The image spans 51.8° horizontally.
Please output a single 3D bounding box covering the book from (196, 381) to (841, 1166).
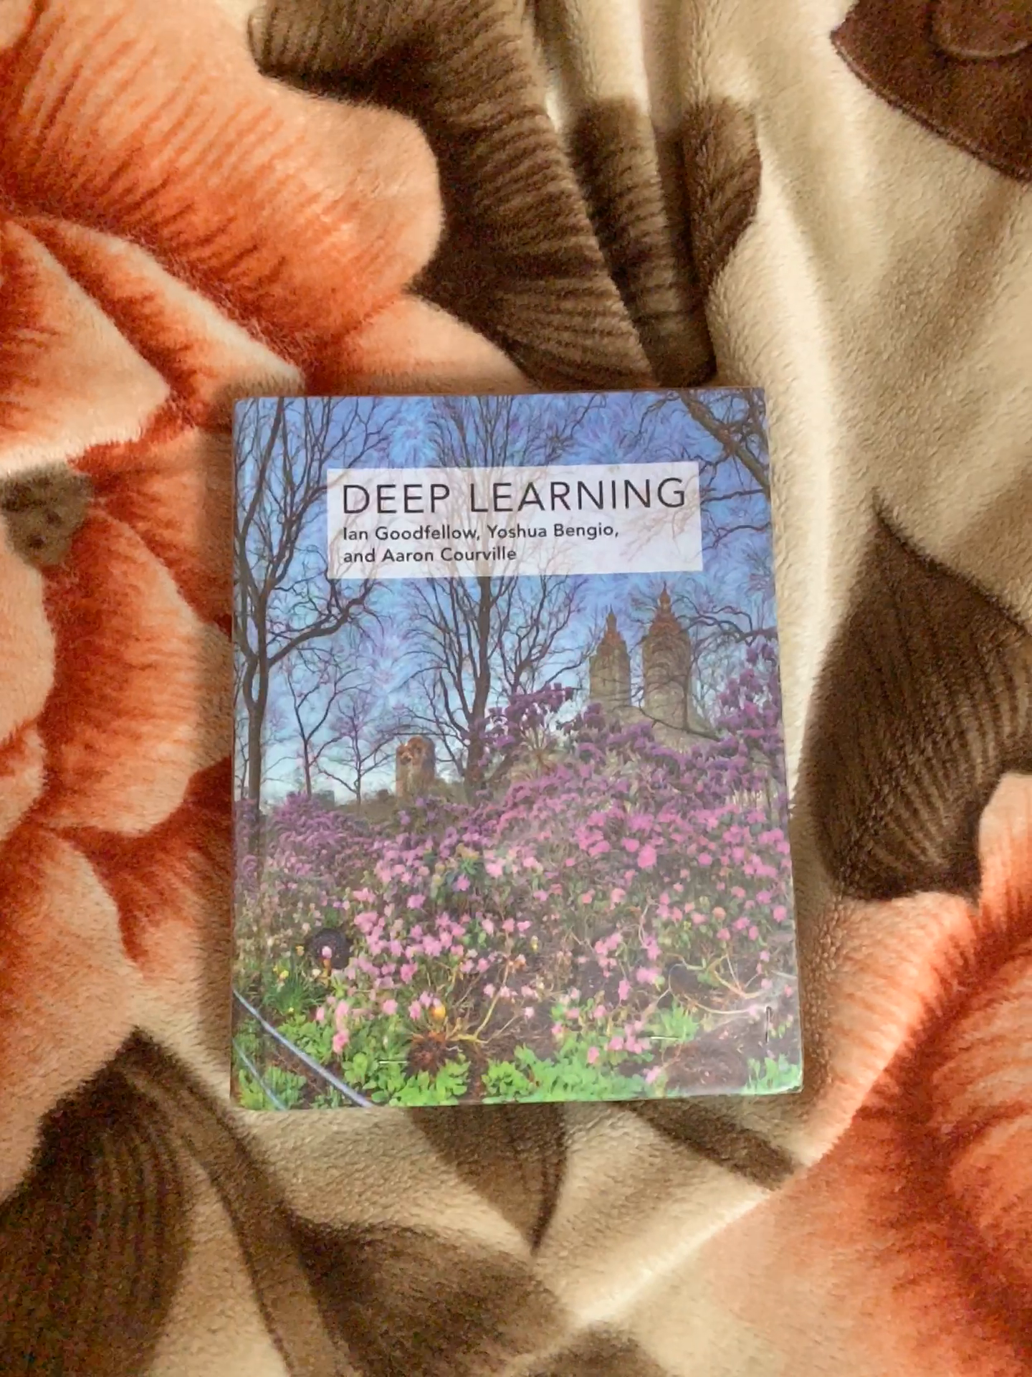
[{"bbox_3d":[-0.002,0.023,0.377,0.210,0.030,0.260,-1,83,-3],"label":"book"}]
